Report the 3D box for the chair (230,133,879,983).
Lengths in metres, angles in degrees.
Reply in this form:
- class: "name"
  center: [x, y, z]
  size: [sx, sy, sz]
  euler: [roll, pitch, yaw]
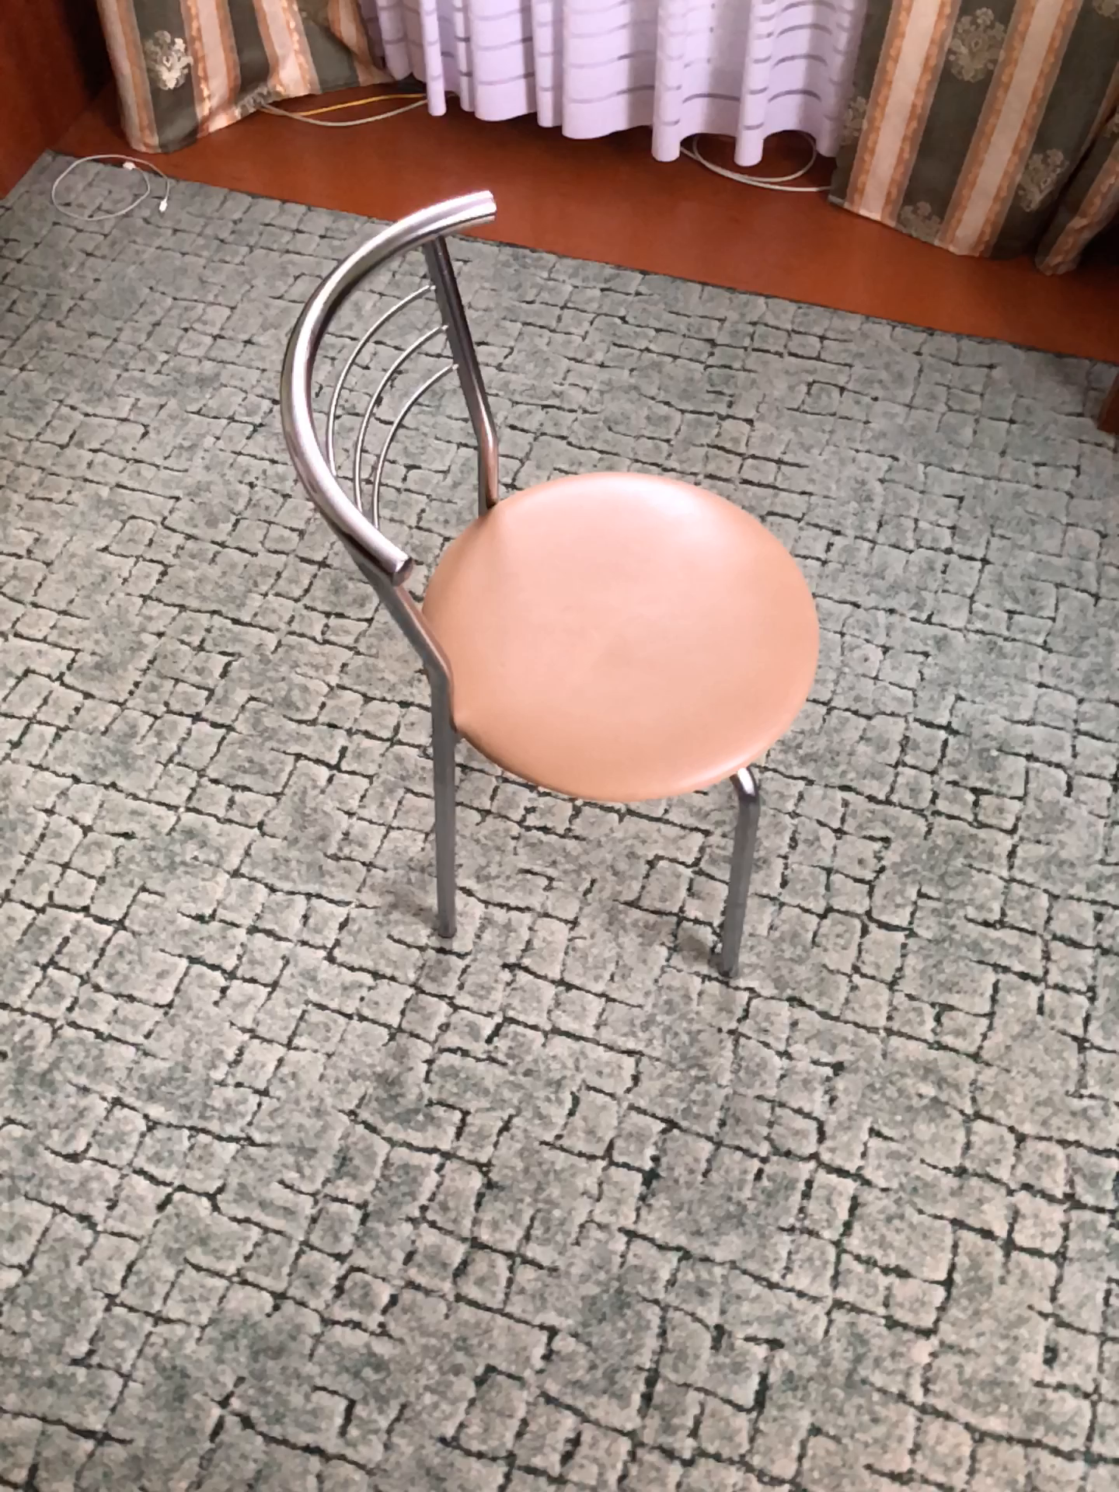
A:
- class: "chair"
  center: [0.031, -0.128, 1.303]
  size: [0.450, 0.804, 0.445]
  euler: [5, 59, 5]
